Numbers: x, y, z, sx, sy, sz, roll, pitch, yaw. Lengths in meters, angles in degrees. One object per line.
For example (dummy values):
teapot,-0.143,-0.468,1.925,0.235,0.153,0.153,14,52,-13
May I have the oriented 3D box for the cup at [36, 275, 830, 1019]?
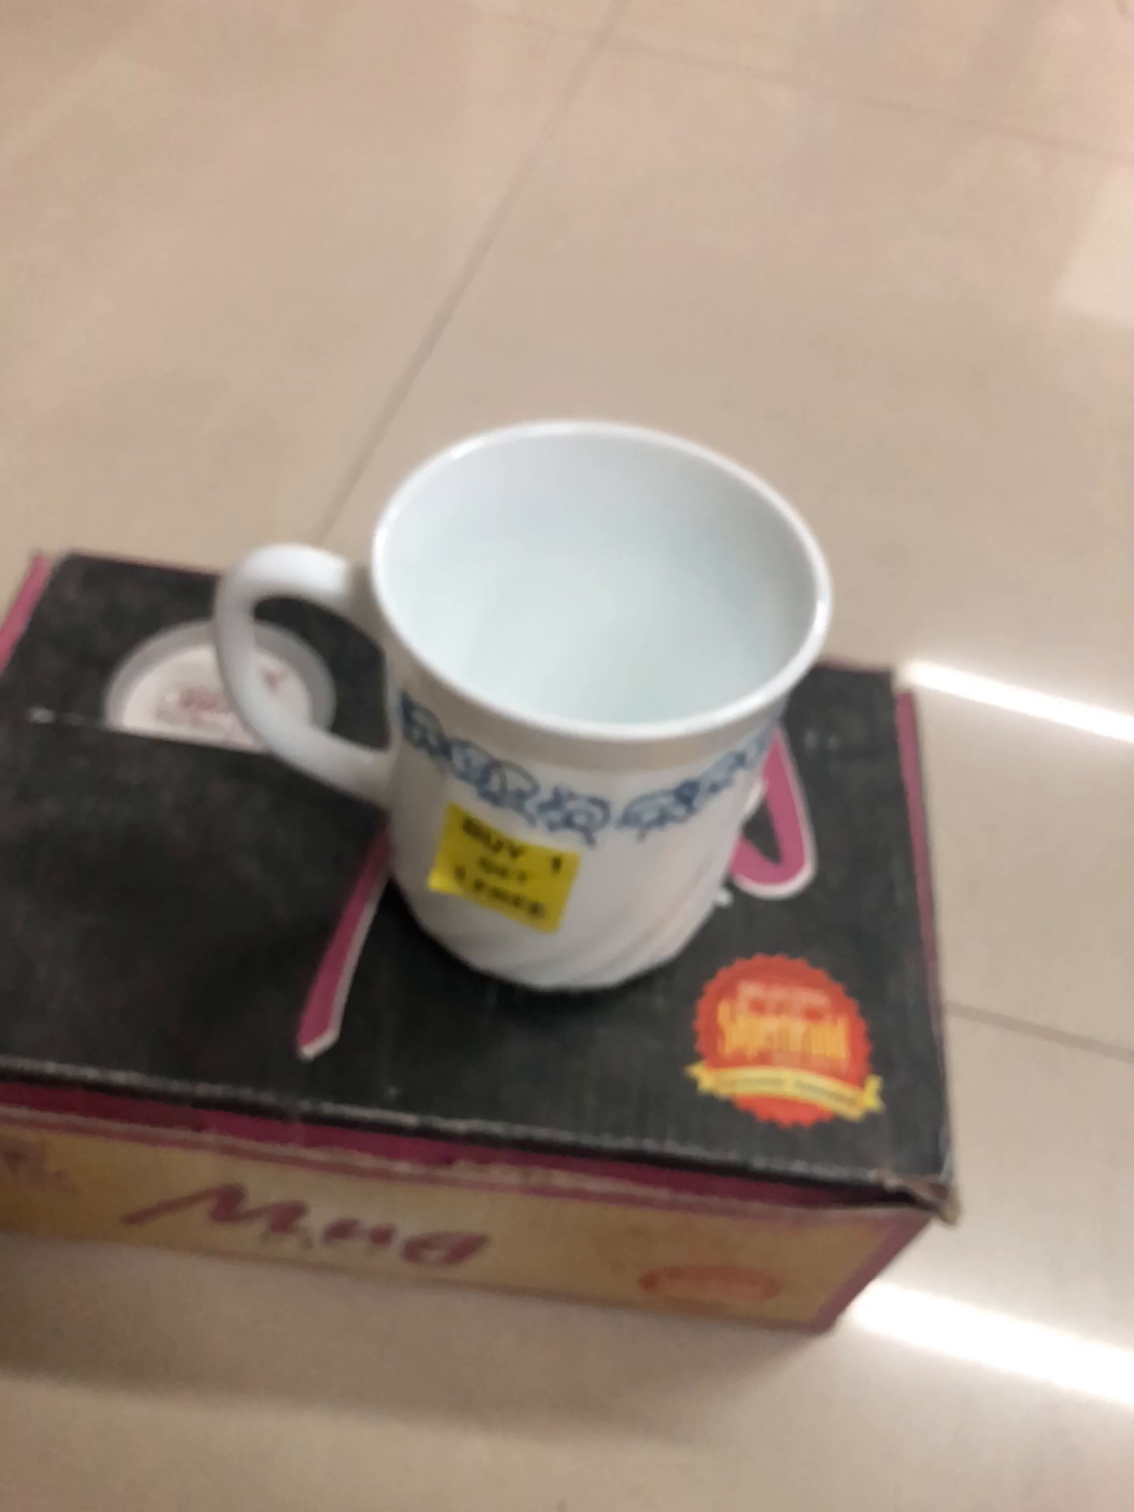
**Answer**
cup,-0.019,-0.020,0.256,0.120,0.089,0.091,10,50,-1
